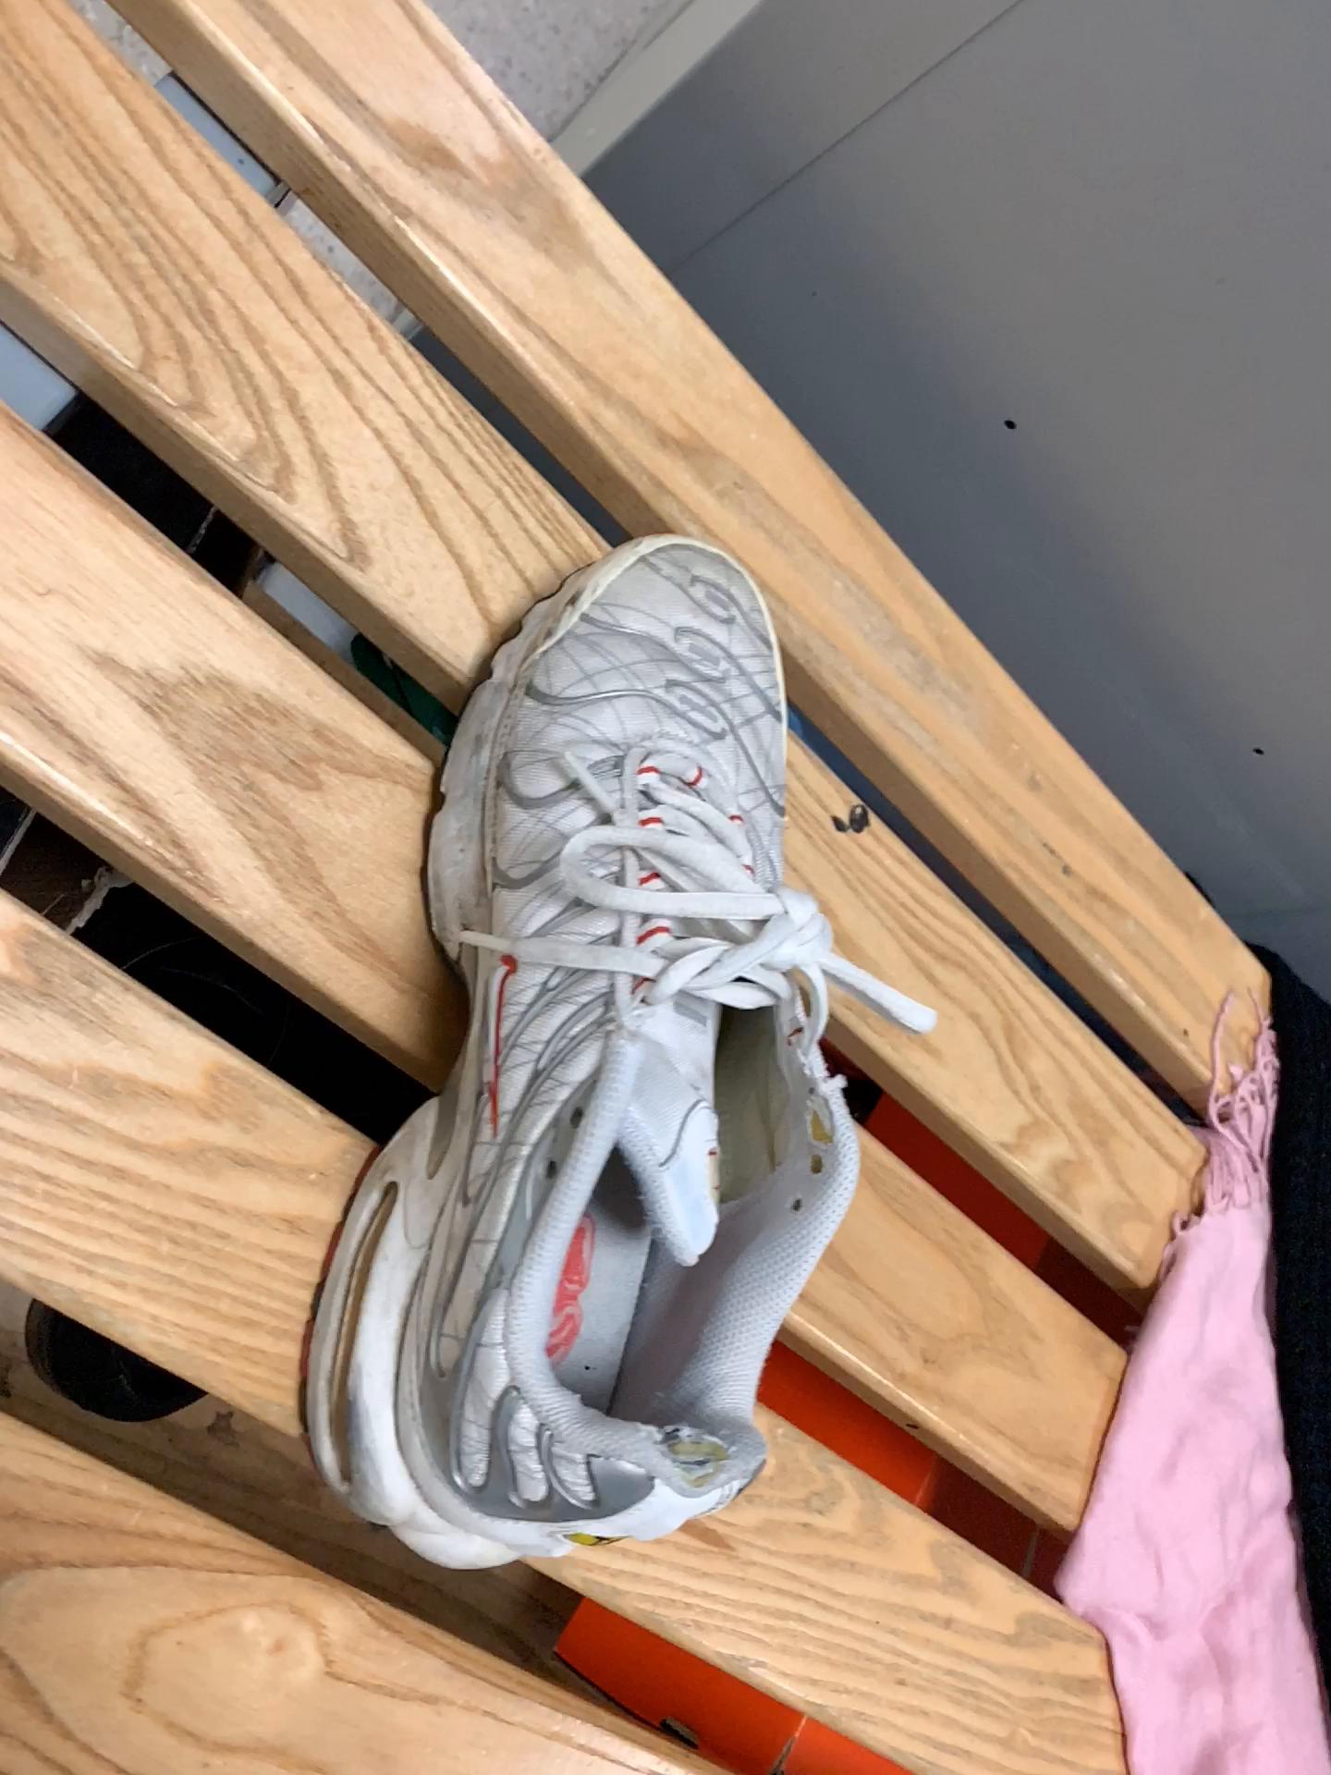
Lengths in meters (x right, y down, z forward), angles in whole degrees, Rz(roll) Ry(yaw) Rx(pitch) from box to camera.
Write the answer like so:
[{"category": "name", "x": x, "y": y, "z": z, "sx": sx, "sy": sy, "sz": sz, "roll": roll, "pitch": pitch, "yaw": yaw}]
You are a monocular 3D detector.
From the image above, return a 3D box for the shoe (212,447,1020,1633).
[{"category": "shoe", "x": -0.006, "y": 0.034, "z": 0.328, "sx": 0.101, "sy": 0.105, "sz": 0.227, "roll": 26, "pitch": 68, "yaw": -32}]
